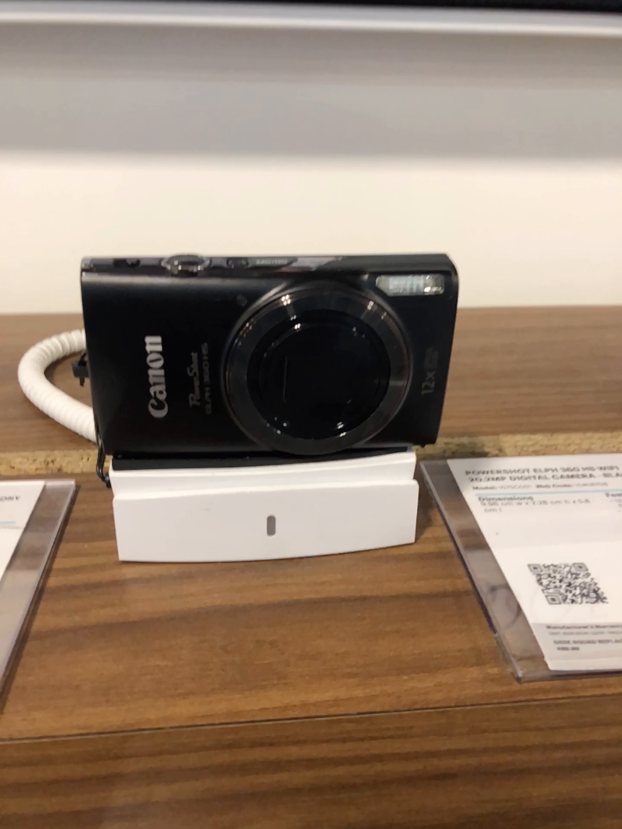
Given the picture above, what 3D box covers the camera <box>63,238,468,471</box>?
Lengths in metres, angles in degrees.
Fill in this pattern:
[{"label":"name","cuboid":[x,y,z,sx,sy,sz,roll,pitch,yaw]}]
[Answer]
[{"label":"camera","cuboid":[-0.012,-0.018,0.196,0.100,0.056,0.030,-2,25,-6]}]
